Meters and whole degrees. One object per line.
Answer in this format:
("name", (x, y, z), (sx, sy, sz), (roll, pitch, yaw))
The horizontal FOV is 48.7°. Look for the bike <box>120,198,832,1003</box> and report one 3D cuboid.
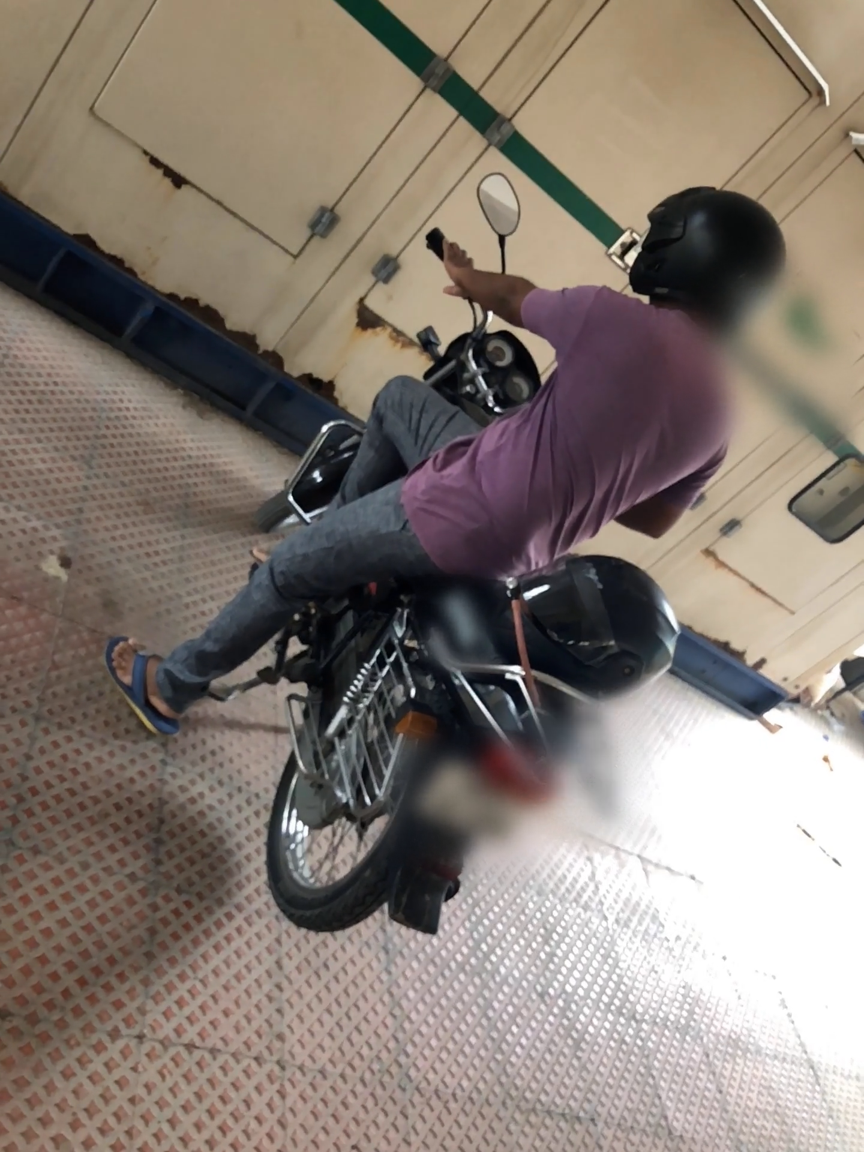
("bike", (0.099, -0.041, 2.277), (0.814, 0.928, 1.602), (34, 30, -24))
